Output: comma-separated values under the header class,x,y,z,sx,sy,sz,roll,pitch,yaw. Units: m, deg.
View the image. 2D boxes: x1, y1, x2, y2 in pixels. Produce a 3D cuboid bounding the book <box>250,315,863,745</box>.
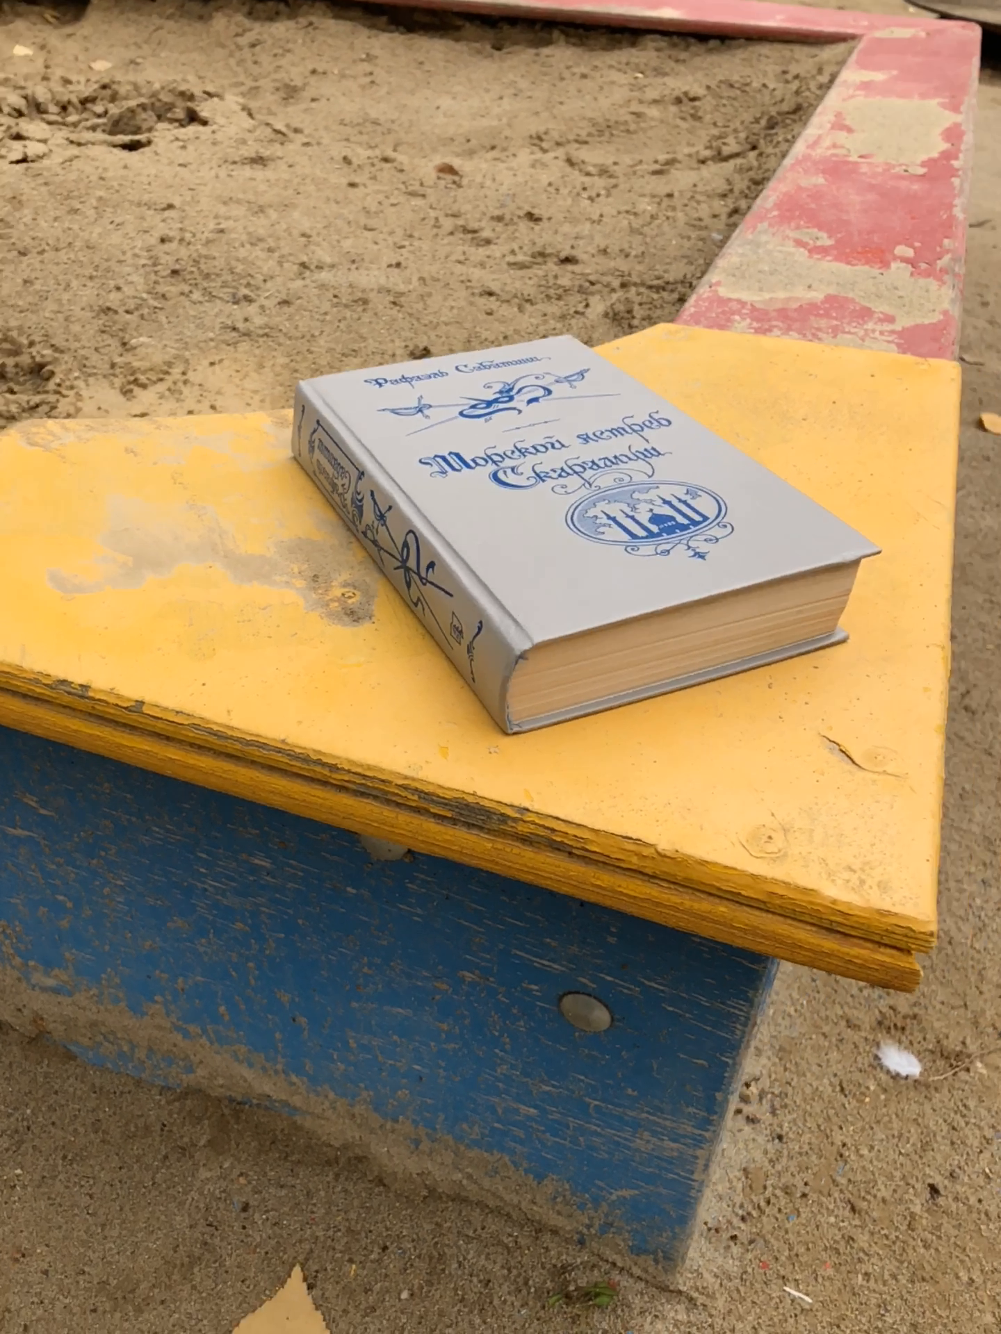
class,x,y,z,sx,sy,sz,roll,pitch,yaw
book,0.006,-0.068,0.407,0.135,0.037,0.211,-15,41,-22
